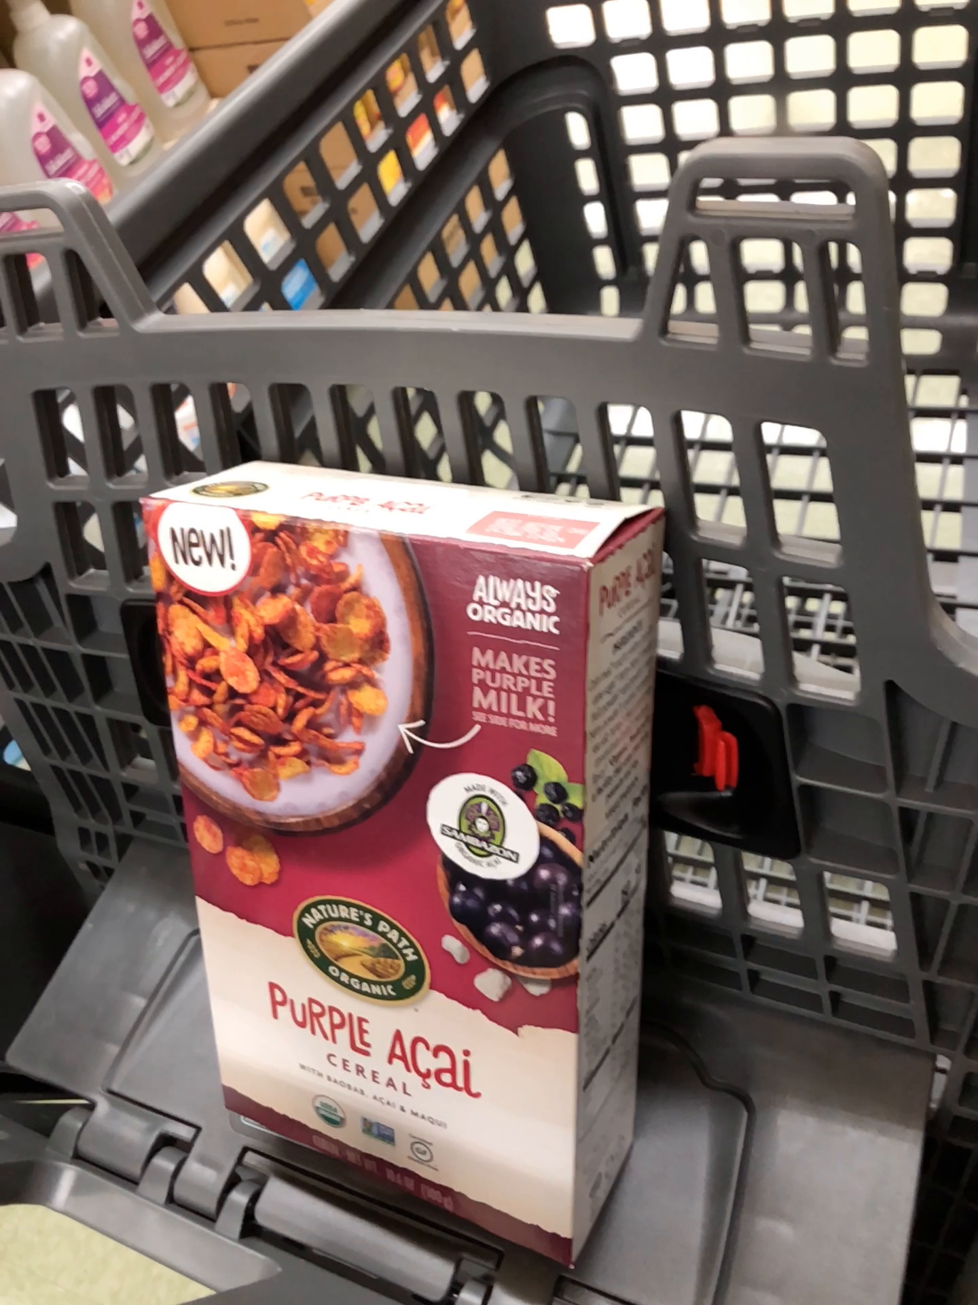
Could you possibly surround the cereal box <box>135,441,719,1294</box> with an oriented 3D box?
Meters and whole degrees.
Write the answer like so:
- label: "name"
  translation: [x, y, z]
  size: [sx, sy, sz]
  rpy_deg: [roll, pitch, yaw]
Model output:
- label: "cereal box"
  translation: [-0.021, 0.073, 0.392]
  size: [0.170, 0.270, 0.070]
  rpy_deg: [11, 25, 25]
